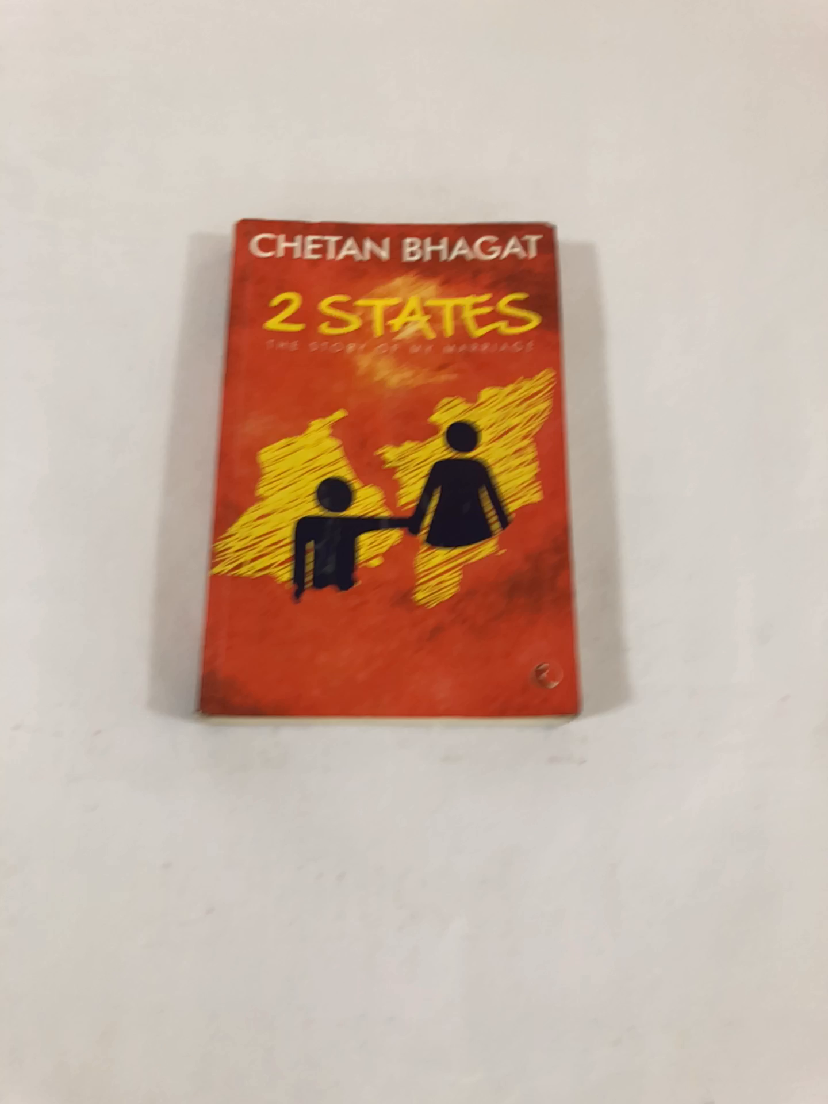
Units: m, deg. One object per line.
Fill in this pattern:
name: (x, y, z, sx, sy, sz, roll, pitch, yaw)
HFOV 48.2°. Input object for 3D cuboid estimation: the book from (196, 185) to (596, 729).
book: (-0.005, -0.036, 0.332, 0.122, 0.040, 0.190, 2, 72, -3)
